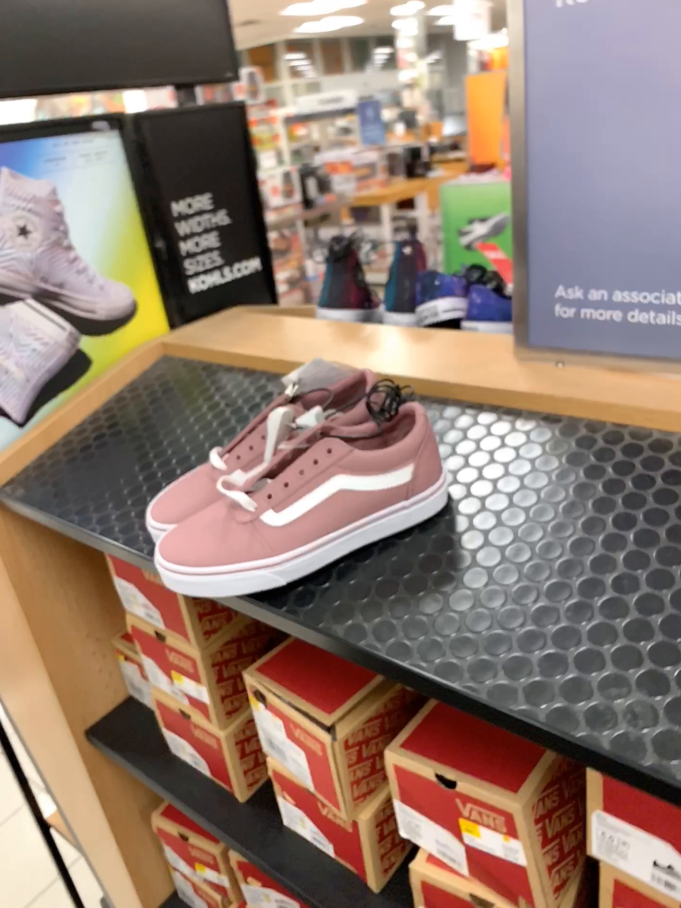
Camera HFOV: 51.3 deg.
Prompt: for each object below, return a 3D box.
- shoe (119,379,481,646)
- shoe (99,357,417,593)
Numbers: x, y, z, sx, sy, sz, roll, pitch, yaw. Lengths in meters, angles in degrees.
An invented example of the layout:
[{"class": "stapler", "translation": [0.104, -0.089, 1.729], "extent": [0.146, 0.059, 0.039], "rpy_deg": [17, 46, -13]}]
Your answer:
[{"class": "shoe", "translation": [-0.033, 0.041, 0.581], "extent": [0.260, 0.099, 0.101], "rpy_deg": [-20, 27, -5]}, {"class": "shoe", "translation": [-0.077, 0.013, 0.660], "extent": [0.260, 0.099, 0.101], "rpy_deg": [-21, 27, -7]}]
